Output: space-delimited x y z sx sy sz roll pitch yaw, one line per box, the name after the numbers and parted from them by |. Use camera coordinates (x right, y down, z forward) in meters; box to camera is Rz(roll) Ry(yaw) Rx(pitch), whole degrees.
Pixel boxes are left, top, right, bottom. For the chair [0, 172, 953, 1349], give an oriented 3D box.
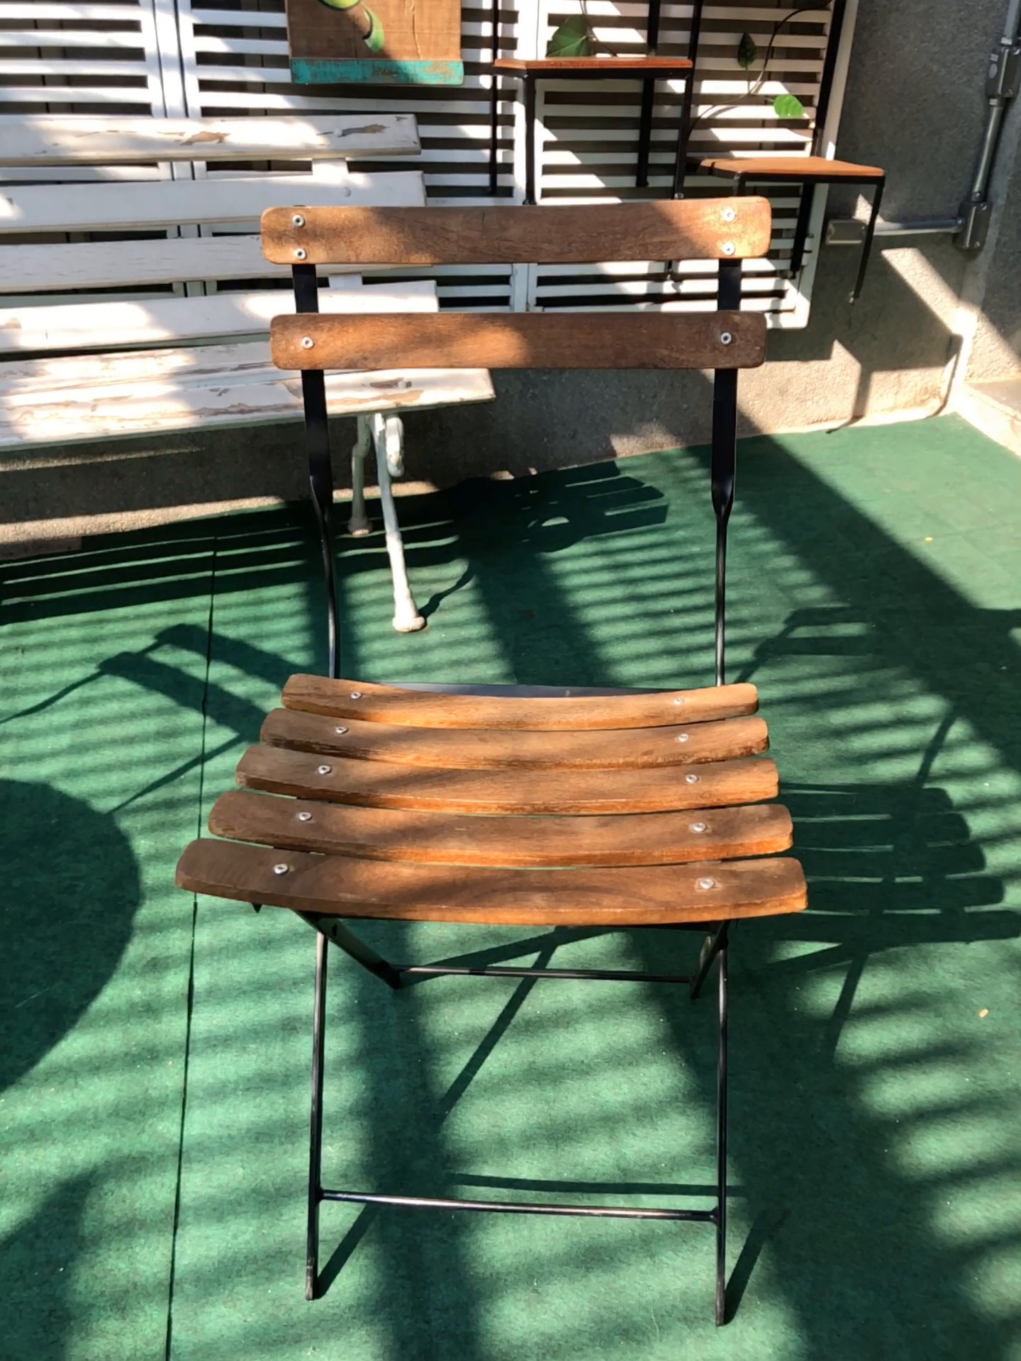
-0.007 0.041 0.755 0.390 0.655 0.403 1 29 5 | chair
